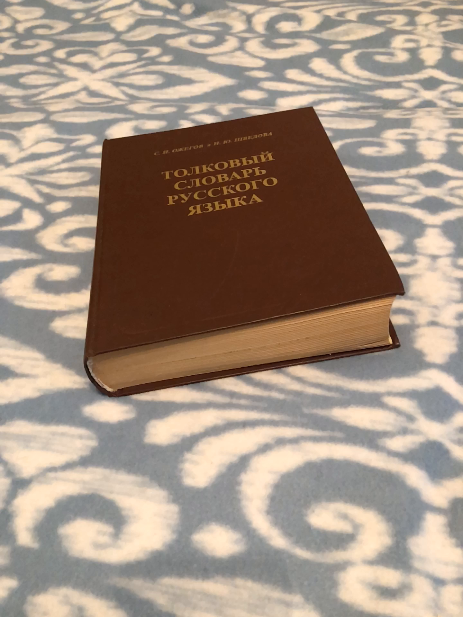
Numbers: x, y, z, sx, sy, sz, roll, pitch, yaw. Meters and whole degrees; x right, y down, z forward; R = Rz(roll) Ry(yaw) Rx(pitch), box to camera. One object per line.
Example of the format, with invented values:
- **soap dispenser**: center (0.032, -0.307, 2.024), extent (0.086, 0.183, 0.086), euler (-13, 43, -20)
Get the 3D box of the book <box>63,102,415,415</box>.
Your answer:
- **book**: center (-0.007, -0.062, 0.431), extent (0.220, 0.067, 0.272), euler (-9, 48, 0)
